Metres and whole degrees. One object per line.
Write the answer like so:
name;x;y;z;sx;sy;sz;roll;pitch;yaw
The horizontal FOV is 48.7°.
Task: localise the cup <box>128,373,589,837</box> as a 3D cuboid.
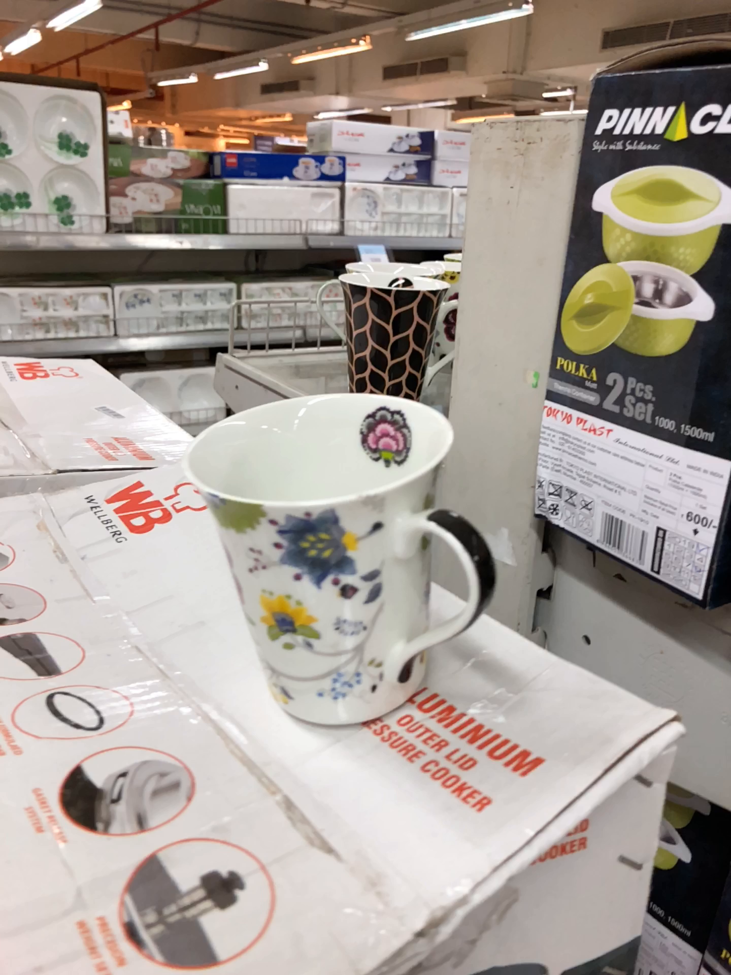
cup;-0.001;0.027;0.270;0.120;0.089;0.080;19;37;38
